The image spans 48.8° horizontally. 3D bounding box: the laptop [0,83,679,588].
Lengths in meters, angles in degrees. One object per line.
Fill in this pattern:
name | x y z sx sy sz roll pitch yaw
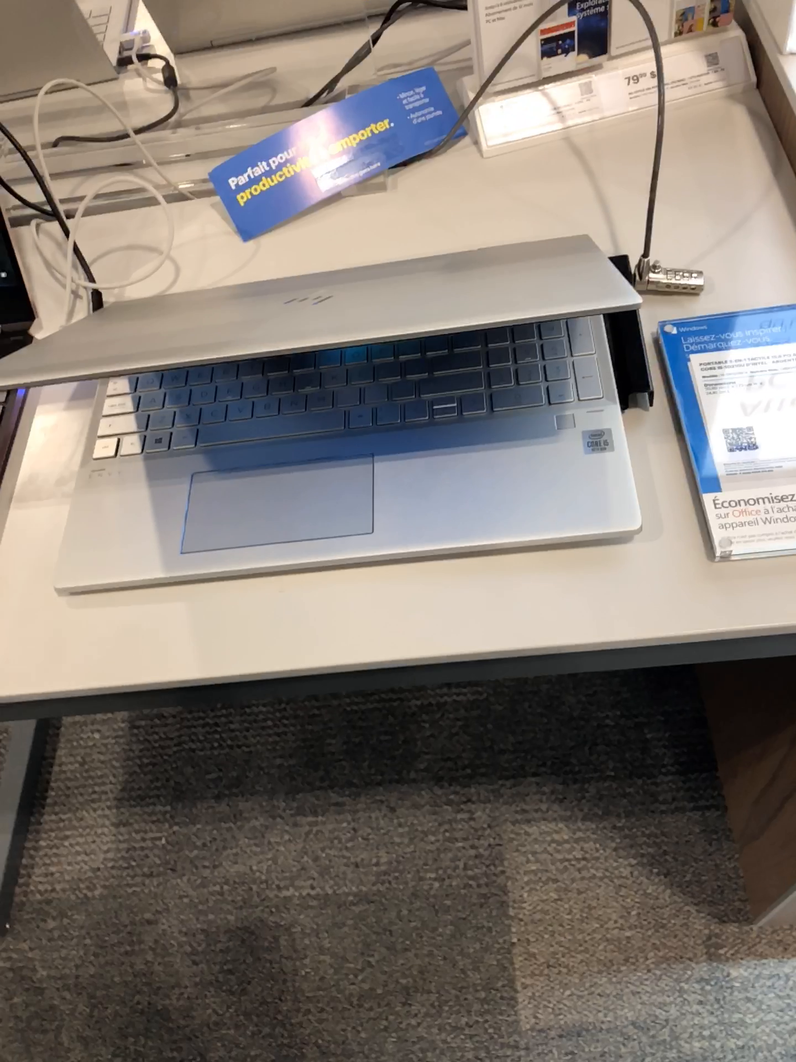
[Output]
laptop | -0.042 -0.110 0.513 0.346 0.116 0.230 -6 58 9
